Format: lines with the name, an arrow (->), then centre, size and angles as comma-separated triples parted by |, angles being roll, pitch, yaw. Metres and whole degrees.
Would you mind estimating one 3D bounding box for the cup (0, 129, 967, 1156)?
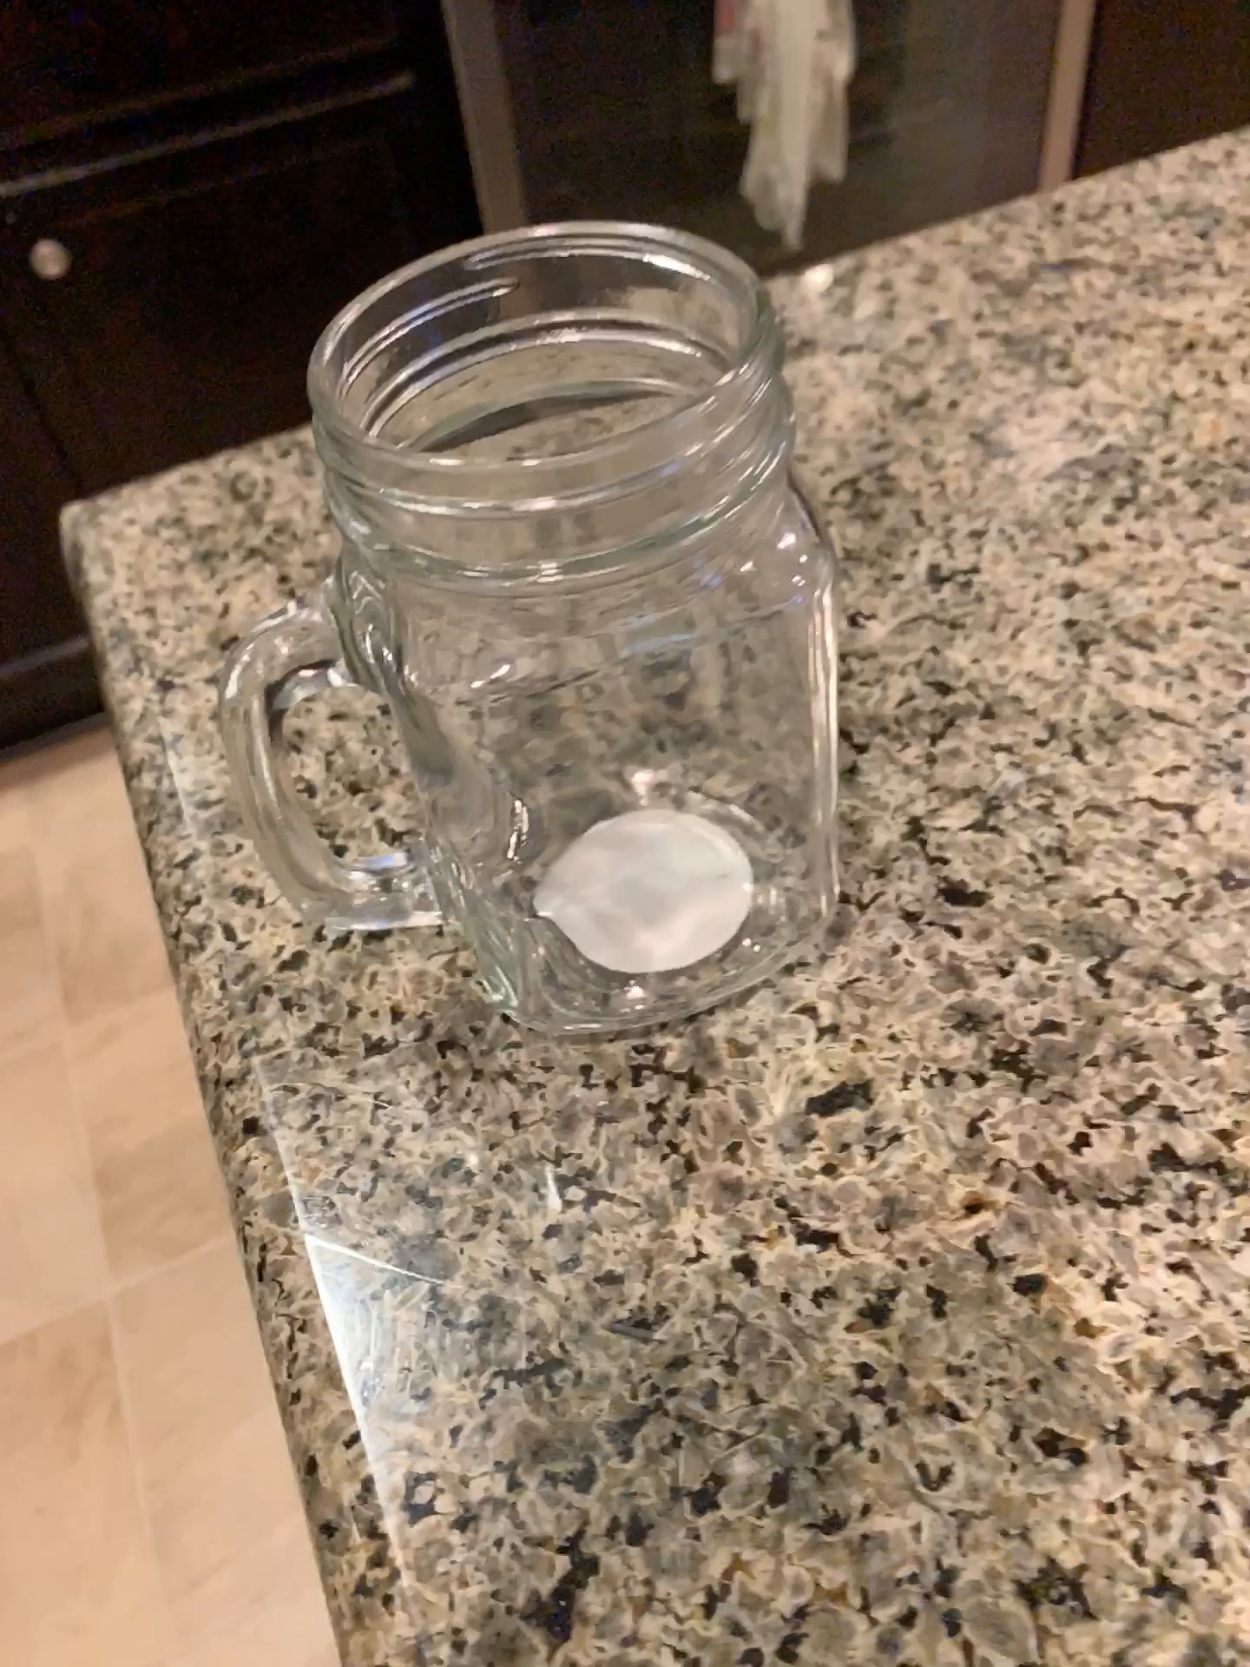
cup -> -0.021, -0.029, 0.222 | 0.120, 0.119, 0.081 | -19, 49, -9
